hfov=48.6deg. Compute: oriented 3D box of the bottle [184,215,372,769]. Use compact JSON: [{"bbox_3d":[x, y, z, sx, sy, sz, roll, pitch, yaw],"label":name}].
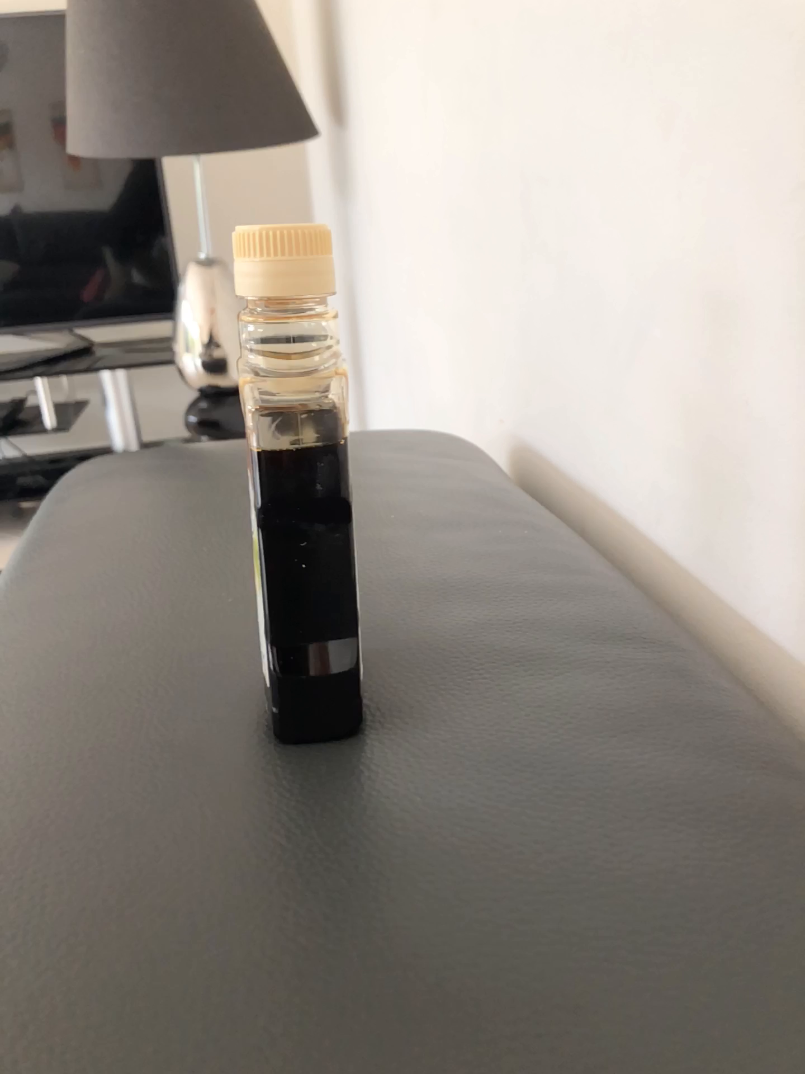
[{"bbox_3d":[-0.038,-0.017,0.284,0.040,0.159,0.070,-5,21,-9],"label":"bottle"}]
